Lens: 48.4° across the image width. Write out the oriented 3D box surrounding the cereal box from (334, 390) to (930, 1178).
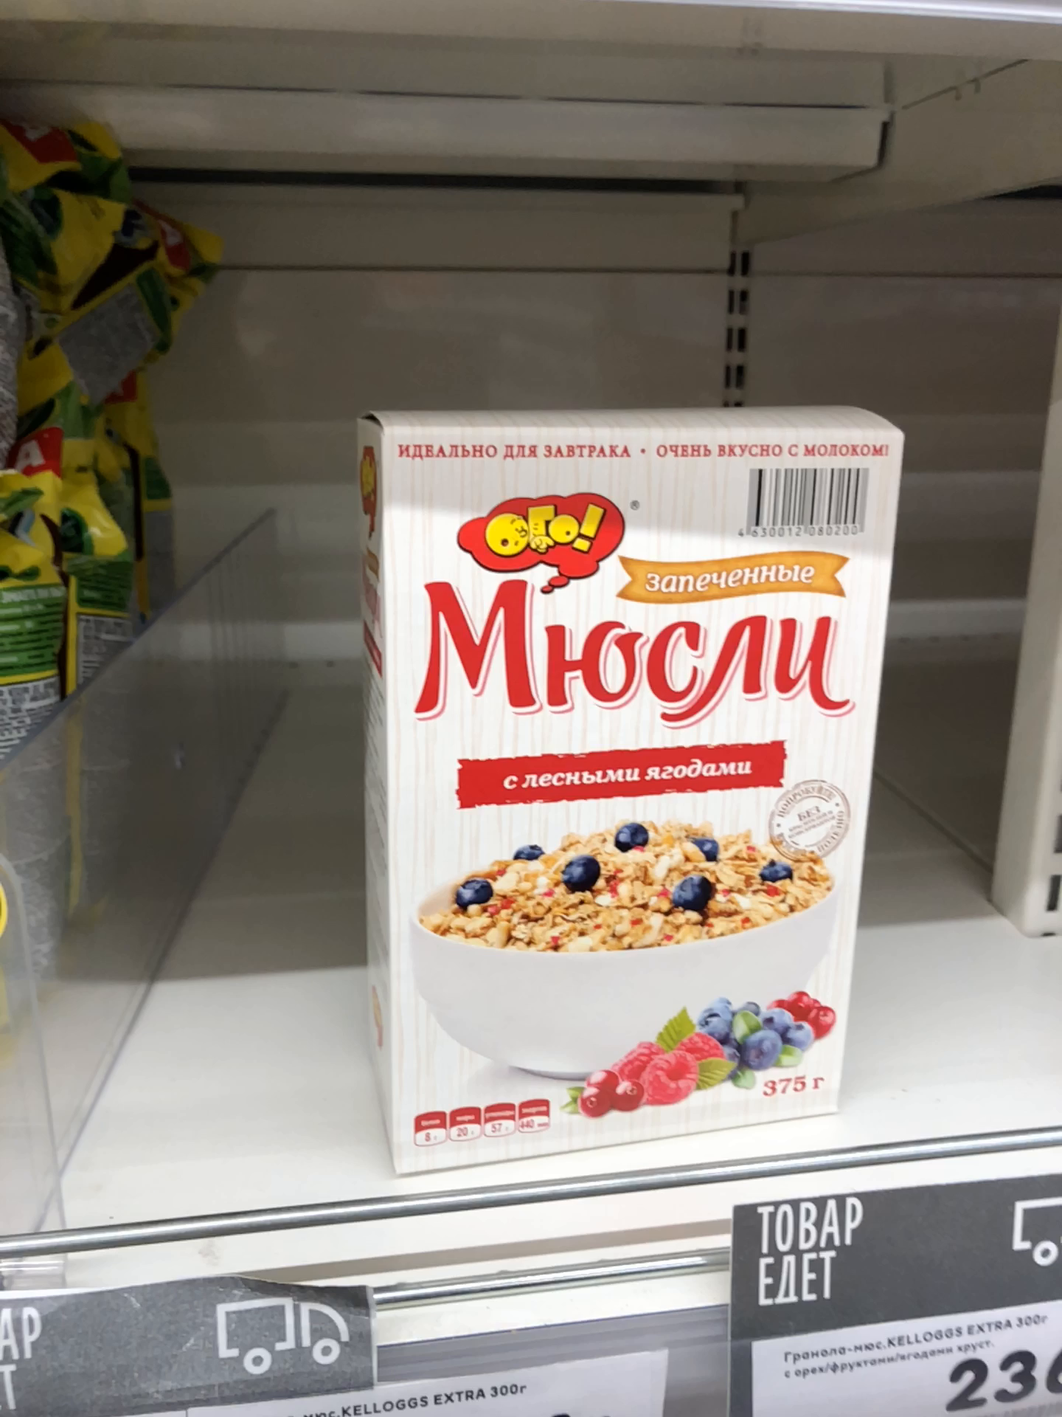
[{"bbox_3d":[0.022,0.016,0.329,0.140,0.199,0.060,-4,17,-12],"label":"cereal box"}]
